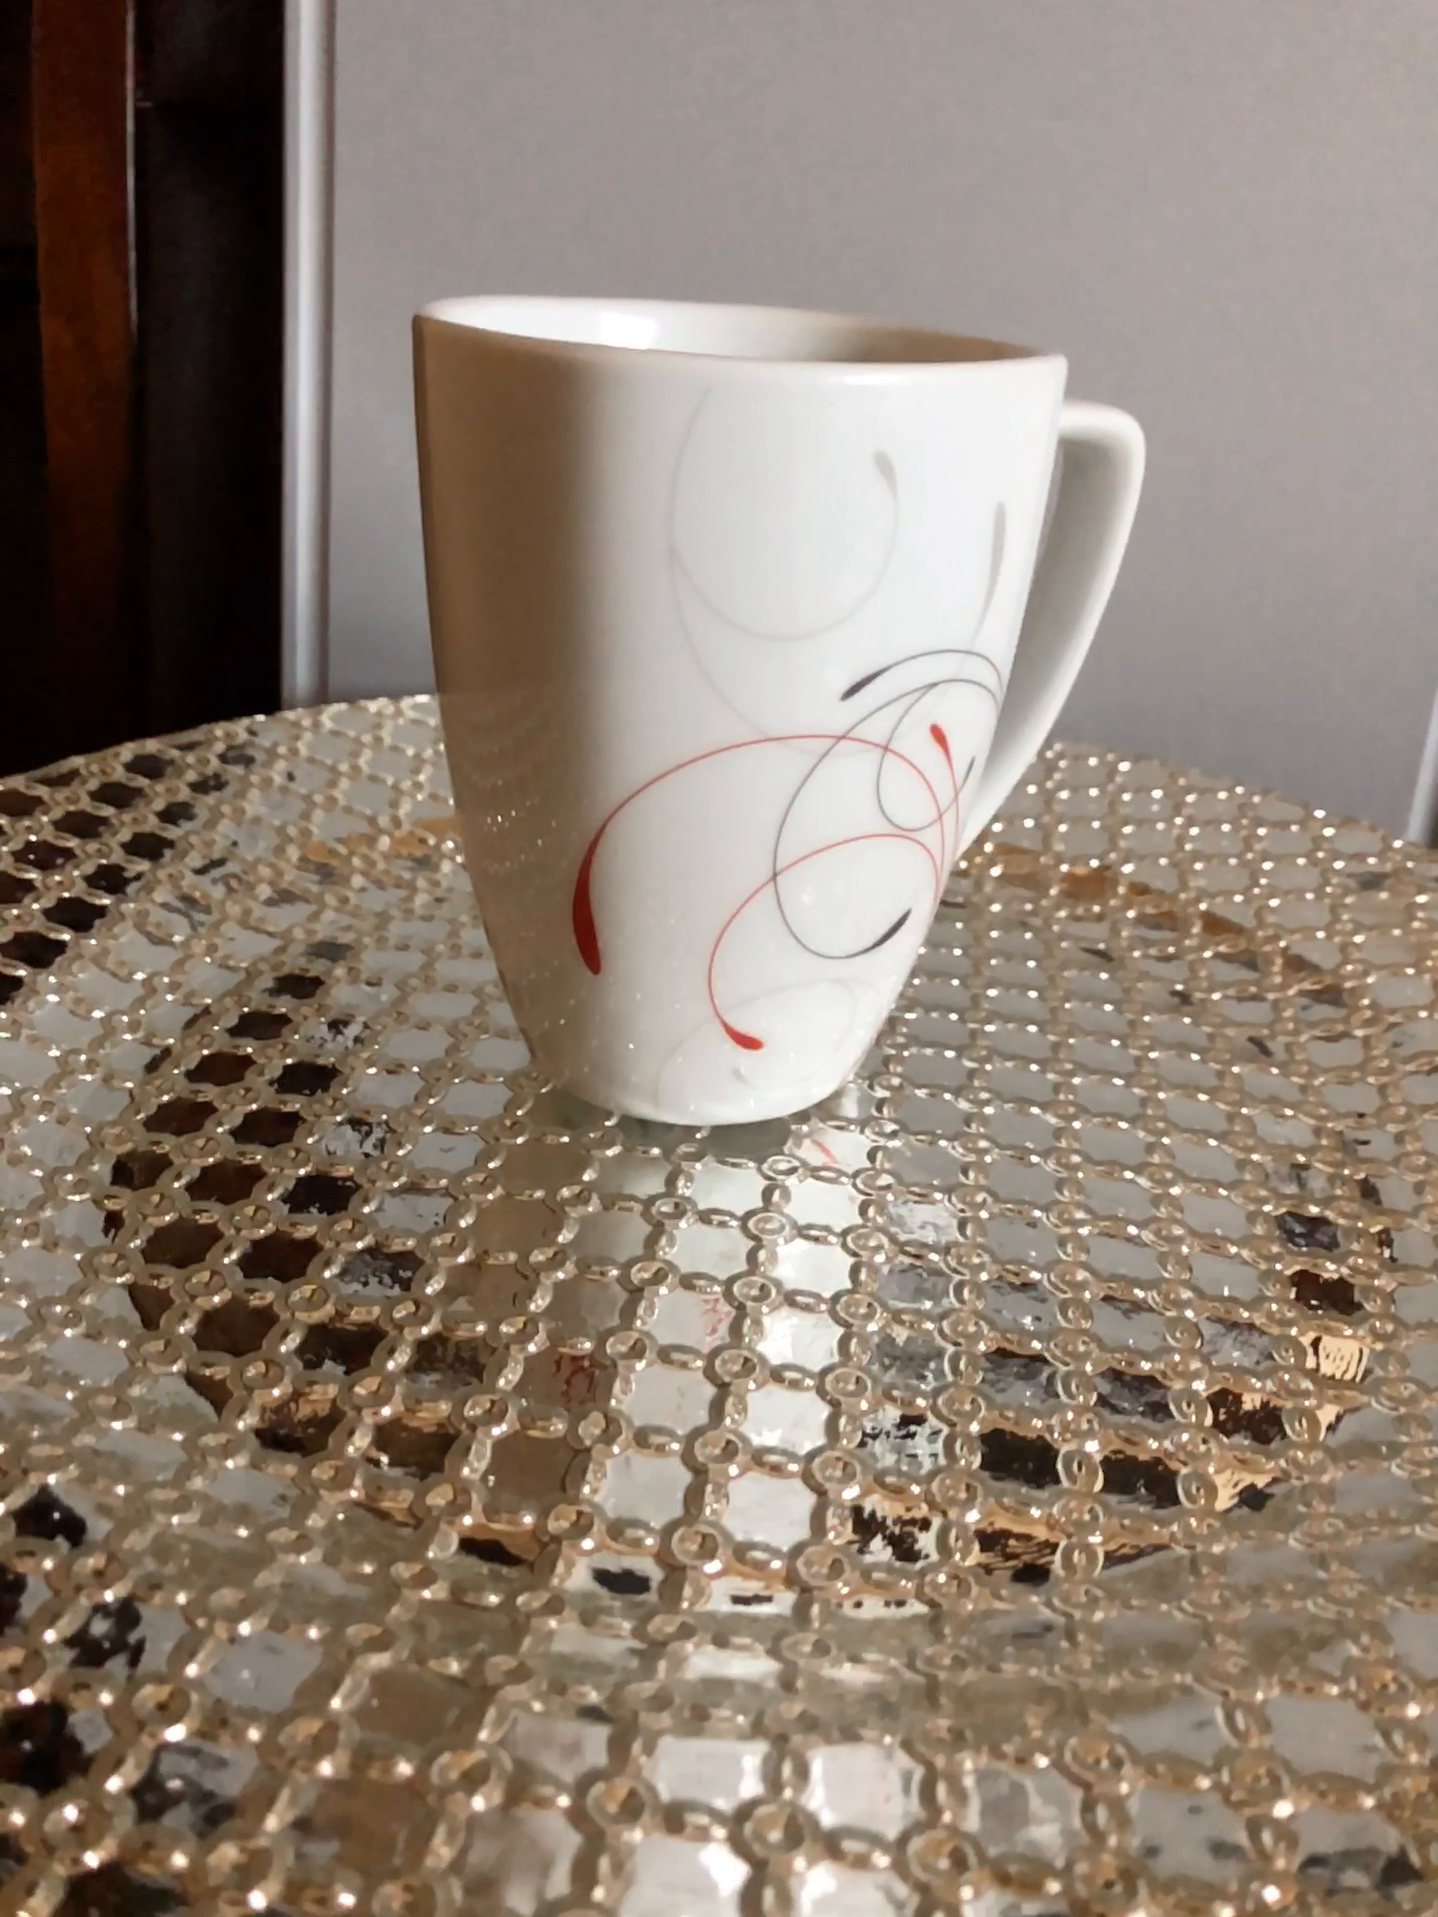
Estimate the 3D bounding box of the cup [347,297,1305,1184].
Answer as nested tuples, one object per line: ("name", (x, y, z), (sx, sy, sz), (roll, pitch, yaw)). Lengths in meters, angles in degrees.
("cup", (0.013, -0.043, 0.247), (0.110, 0.100, 0.080), (-15, 31, -36))
